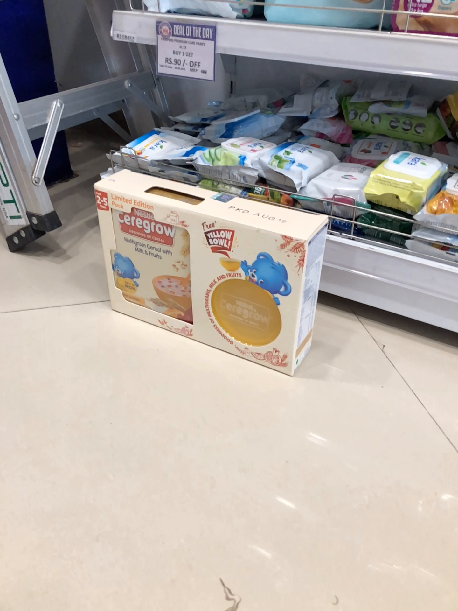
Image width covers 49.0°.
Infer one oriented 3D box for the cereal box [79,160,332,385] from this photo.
[{"bbox_3d":[-0.039,-0.049,0.656,0.310,0.209,0.070,19,38,24],"label":"cereal box"}]
